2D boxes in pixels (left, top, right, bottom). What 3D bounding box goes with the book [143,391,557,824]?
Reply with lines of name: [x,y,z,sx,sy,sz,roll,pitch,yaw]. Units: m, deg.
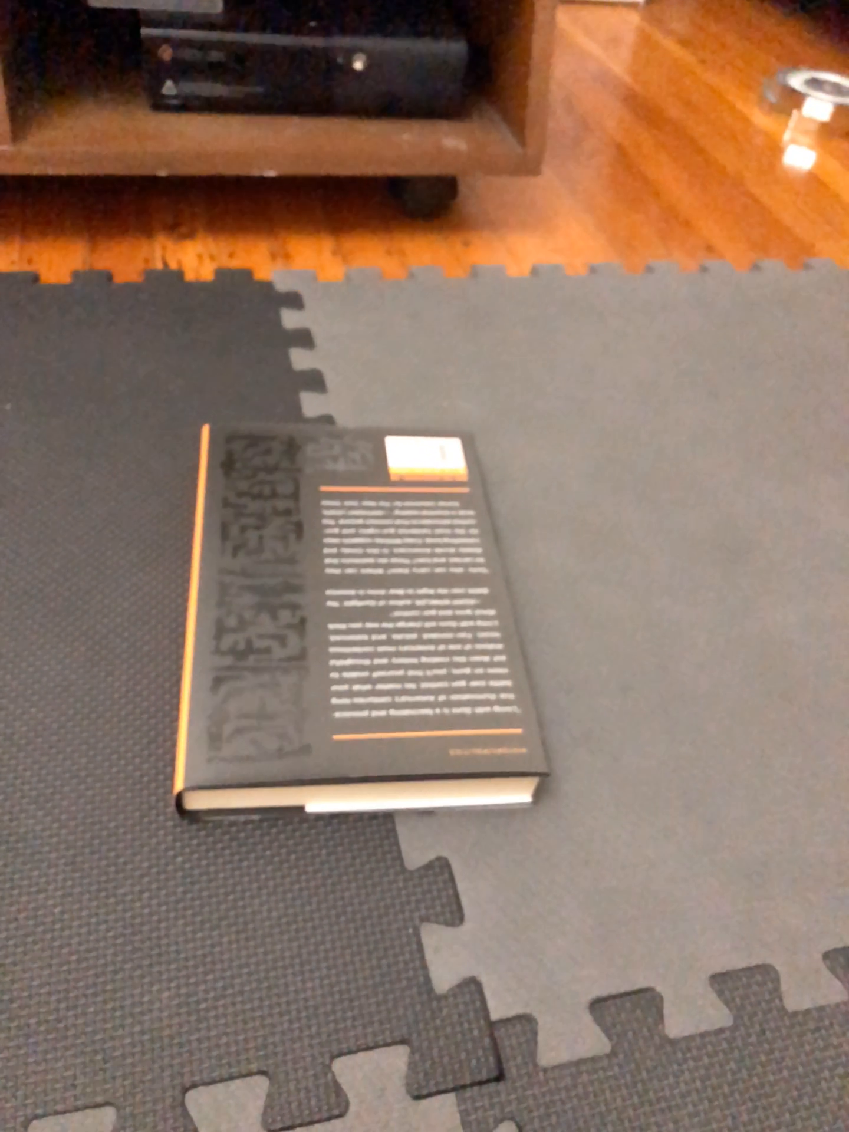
book: [-0.043,0.003,0.494,0.170,0.040,0.261,0,45,-8]
